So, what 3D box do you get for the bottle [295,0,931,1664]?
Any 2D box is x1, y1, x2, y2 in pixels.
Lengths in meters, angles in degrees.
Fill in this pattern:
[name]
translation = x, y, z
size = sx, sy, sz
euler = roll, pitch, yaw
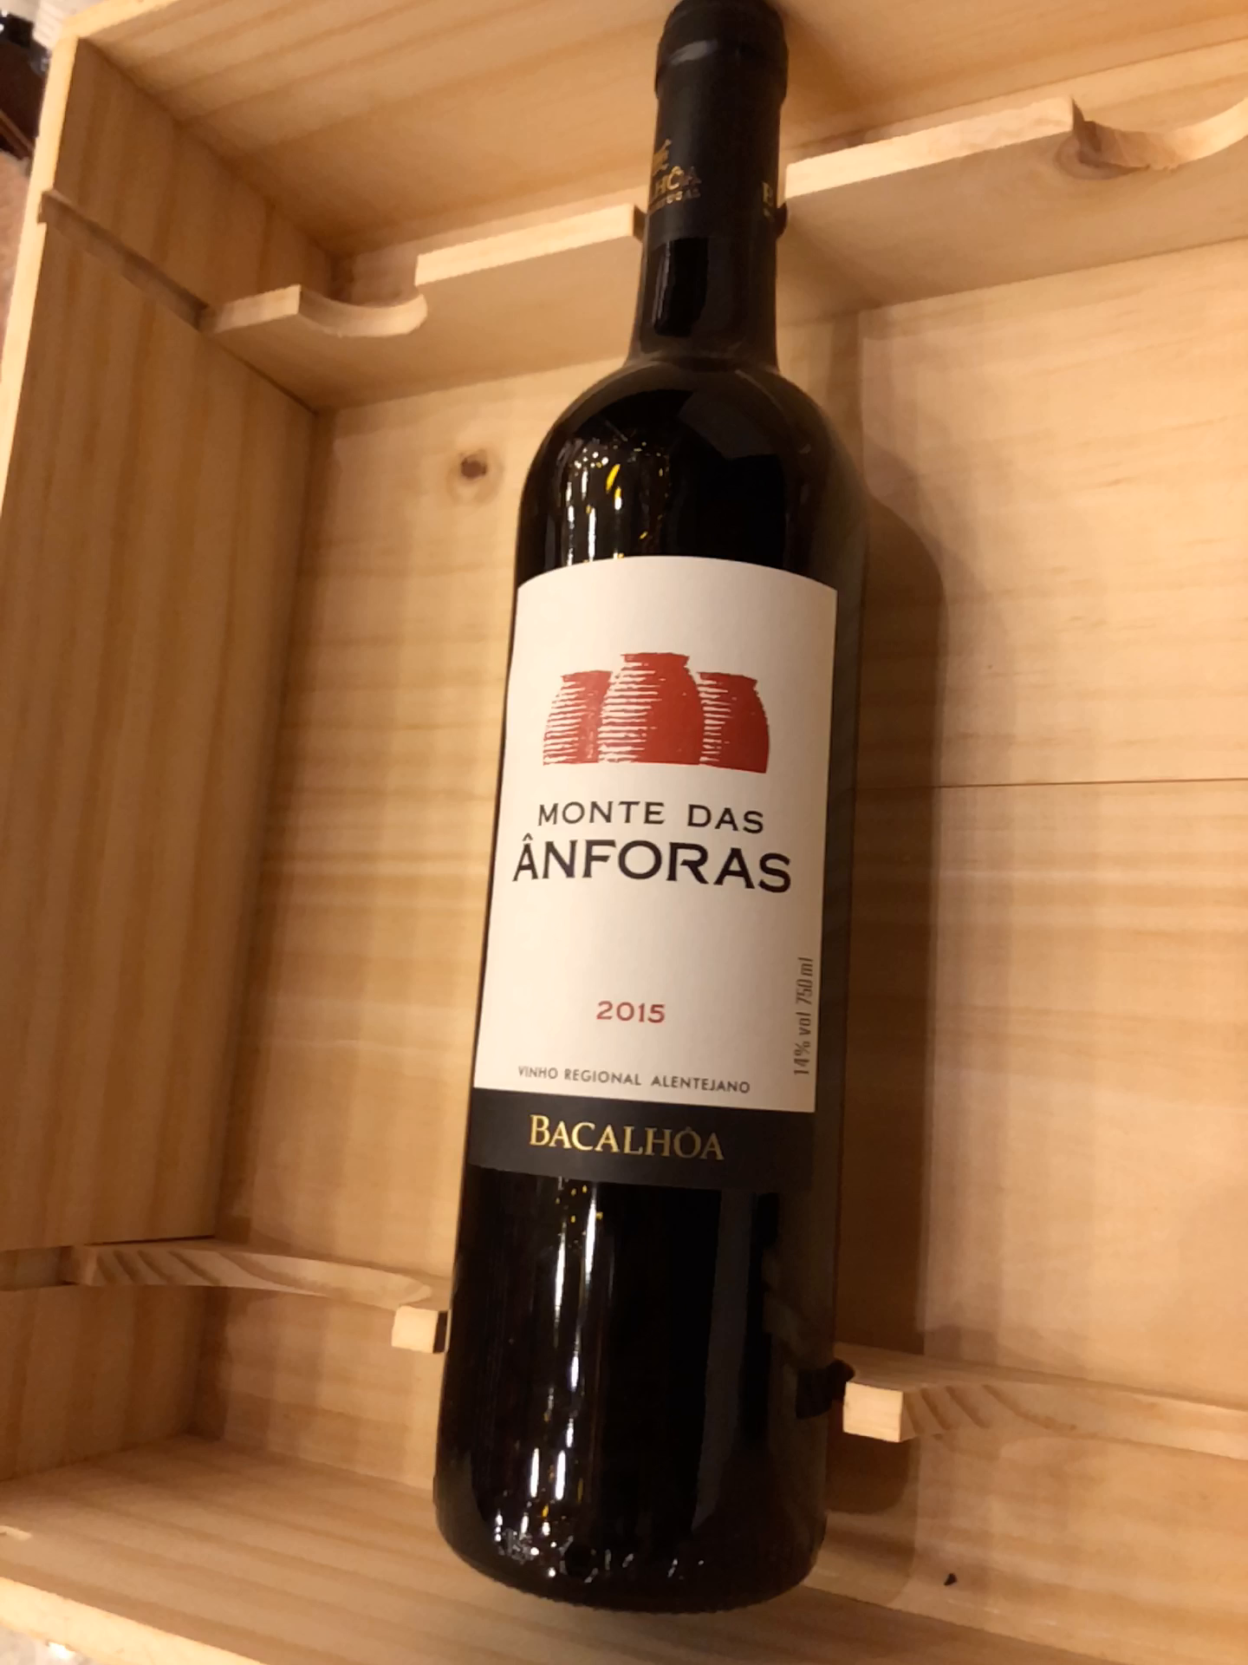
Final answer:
[bottle]
translation = 0.005, -0.026, 0.273
size = 0.080, 0.060, 0.320
euler = 1, 81, 27
